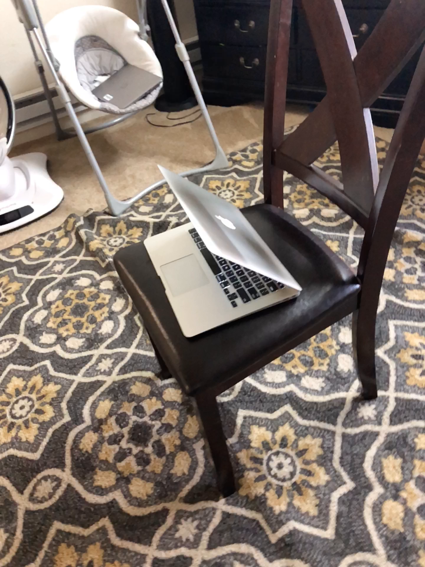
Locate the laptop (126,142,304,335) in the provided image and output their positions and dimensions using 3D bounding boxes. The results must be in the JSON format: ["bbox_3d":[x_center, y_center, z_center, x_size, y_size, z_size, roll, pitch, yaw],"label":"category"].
[{"bbox_3d":[-0.003,-0.098,0.858,0.215,0.154,0.305,-20,44,-9],"label":"laptop"}]
